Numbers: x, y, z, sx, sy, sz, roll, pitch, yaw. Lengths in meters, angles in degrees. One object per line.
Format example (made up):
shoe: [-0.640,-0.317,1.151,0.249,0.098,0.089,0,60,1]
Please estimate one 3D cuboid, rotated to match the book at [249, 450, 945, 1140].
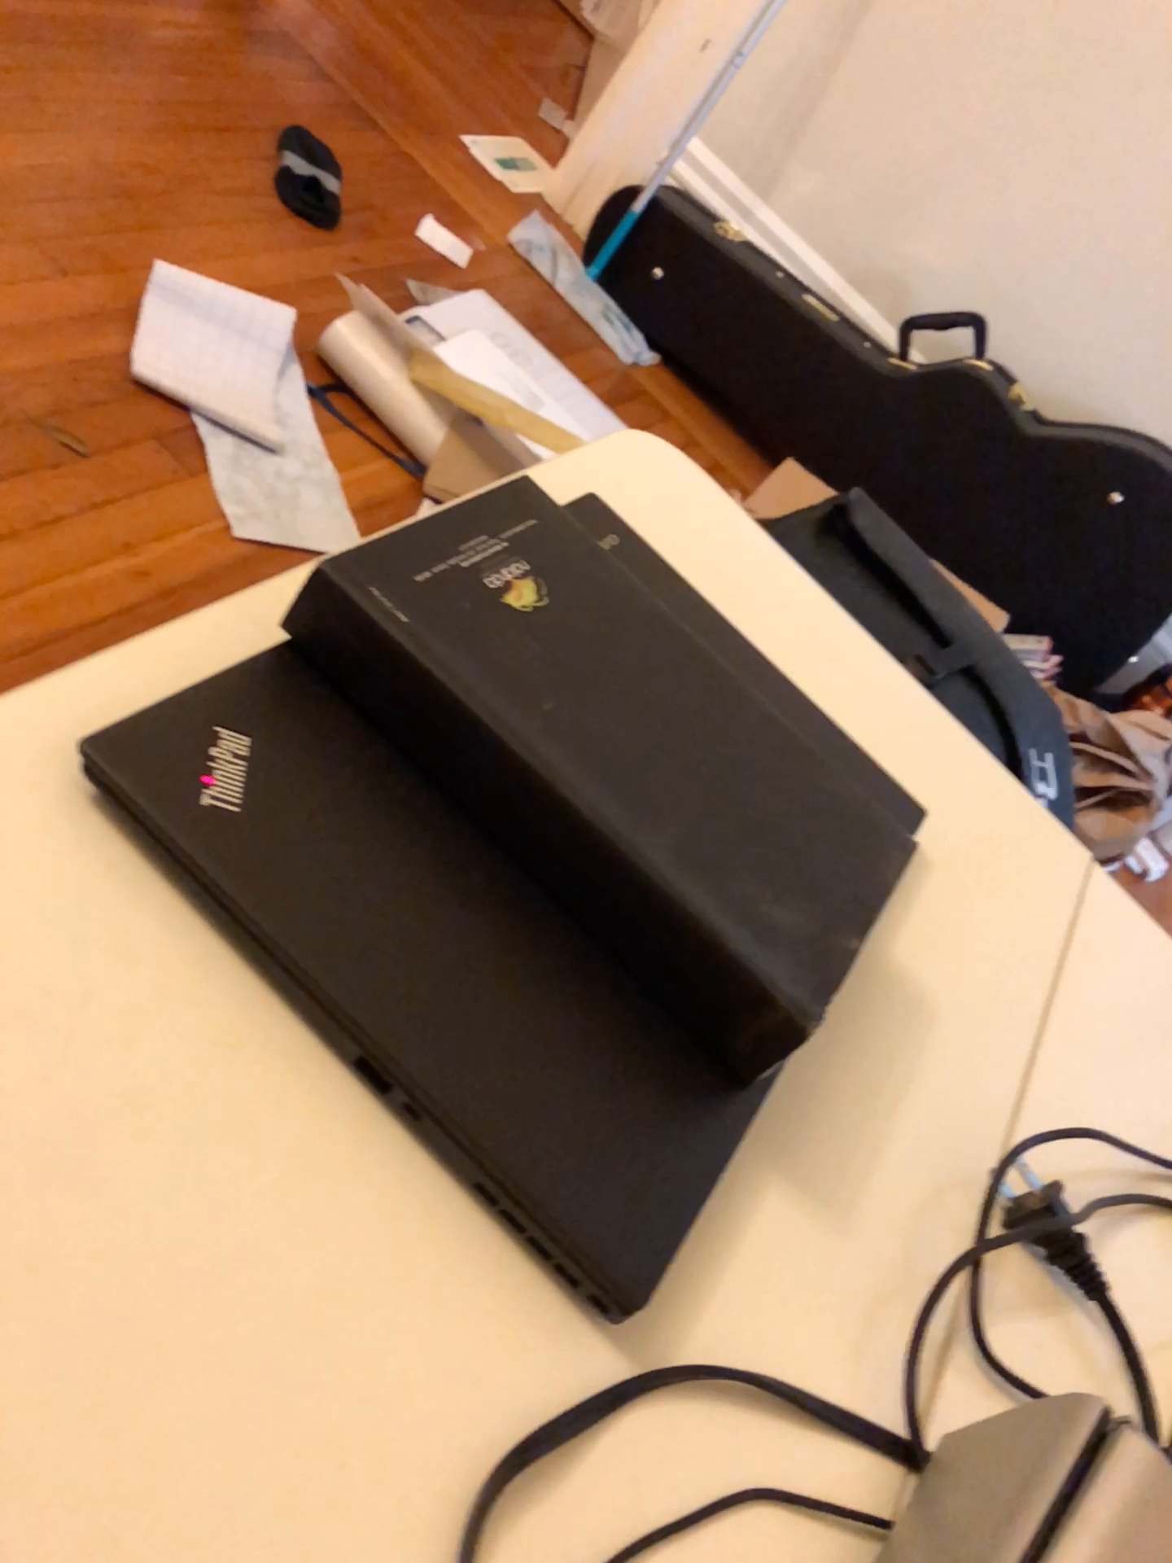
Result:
book: [0.016,-0.009,0.464,0.230,0.040,0.151,45,36,2]
